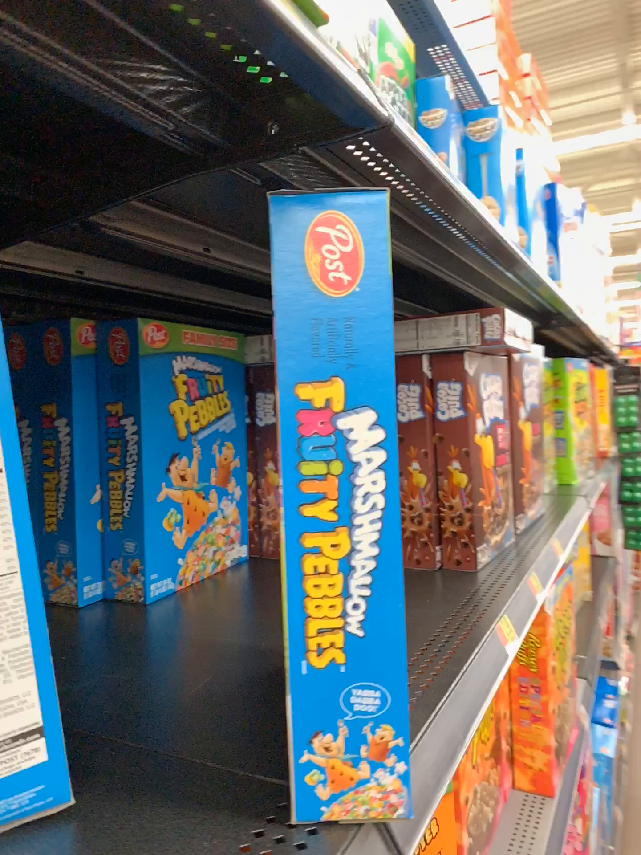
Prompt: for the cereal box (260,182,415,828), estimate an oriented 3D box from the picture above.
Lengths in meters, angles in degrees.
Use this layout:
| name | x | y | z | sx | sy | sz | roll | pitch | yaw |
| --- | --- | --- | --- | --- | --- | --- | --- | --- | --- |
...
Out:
| name | x | y | z | sx | sy | sz | roll | pitch | yaw |
| --- | --- | --- | --- | --- | --- | --- | --- | --- | --- |
| cereal box | 0.004 | 0.037 | 0.454 | 0.070 | 0.330 | 0.230 | -2 | 1 | -2 |
